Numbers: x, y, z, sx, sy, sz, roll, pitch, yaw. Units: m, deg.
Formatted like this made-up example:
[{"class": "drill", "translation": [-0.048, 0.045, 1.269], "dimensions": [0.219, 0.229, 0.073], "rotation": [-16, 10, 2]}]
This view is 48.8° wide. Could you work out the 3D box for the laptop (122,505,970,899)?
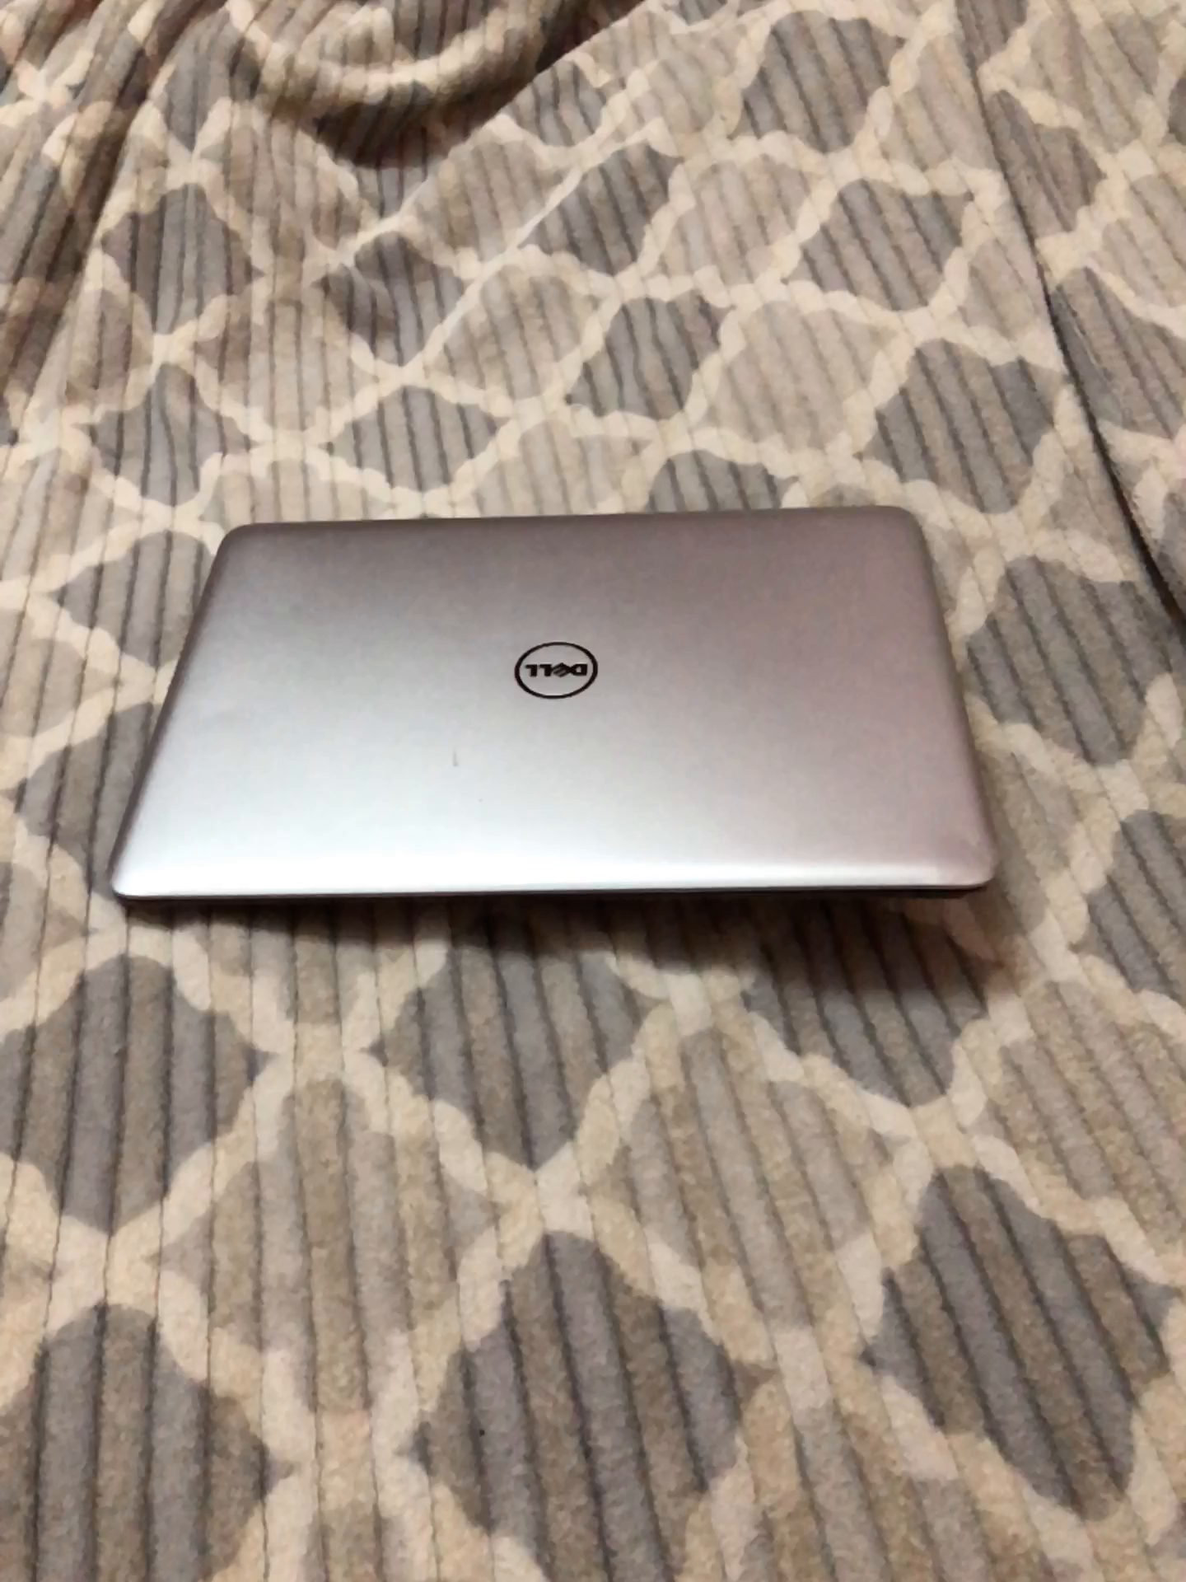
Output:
[{"class": "laptop", "translation": [-0.021, -0.054, 0.637], "dimensions": [0.359, 0.007, 0.253], "rotation": [-1, 49, 3]}]
